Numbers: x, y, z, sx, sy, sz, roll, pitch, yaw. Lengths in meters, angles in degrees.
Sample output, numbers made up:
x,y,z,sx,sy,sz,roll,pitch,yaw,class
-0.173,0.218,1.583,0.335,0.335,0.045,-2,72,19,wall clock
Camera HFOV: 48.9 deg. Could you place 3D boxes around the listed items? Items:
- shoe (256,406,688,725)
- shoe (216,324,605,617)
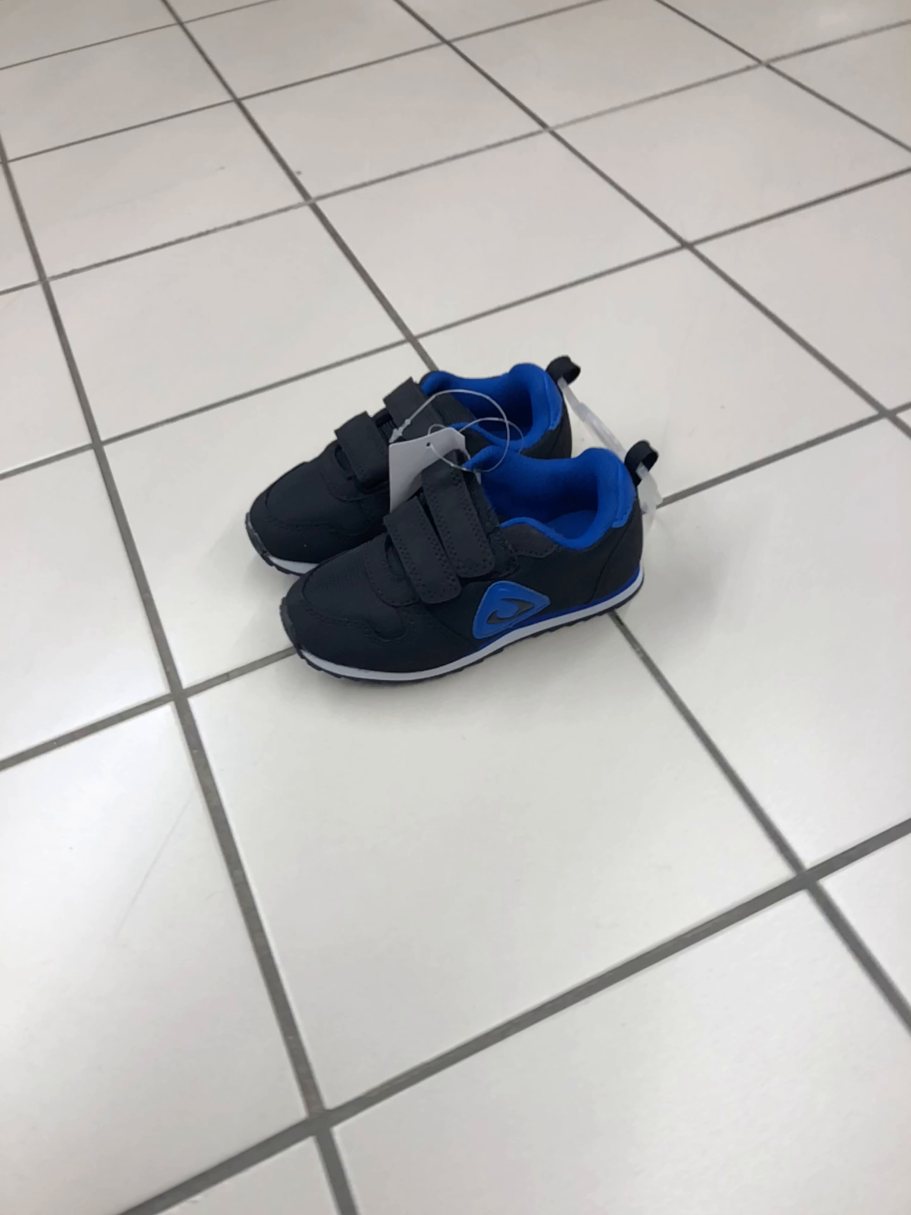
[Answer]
x,y,z,sx,sy,sz,roll,pitch,yaw,class
0.009,-0.020,0.460,0.174,0.073,0.067,-18,50,-9,shoe
-0.020,-0.070,0.505,0.174,0.073,0.067,-19,51,-10,shoe
